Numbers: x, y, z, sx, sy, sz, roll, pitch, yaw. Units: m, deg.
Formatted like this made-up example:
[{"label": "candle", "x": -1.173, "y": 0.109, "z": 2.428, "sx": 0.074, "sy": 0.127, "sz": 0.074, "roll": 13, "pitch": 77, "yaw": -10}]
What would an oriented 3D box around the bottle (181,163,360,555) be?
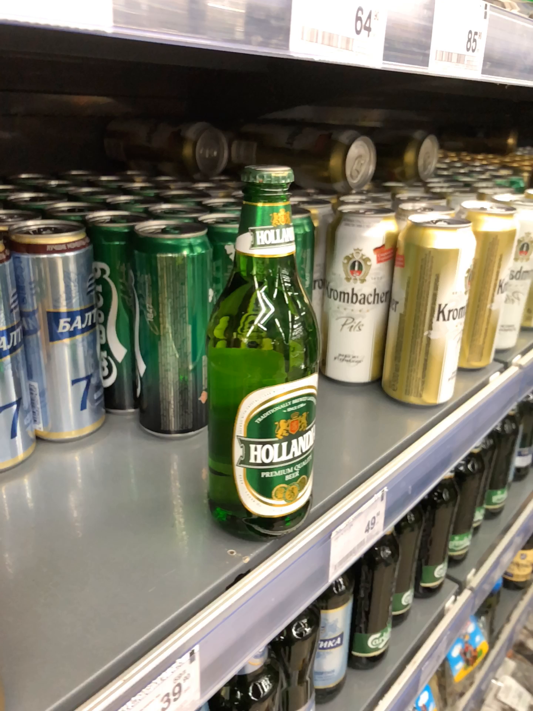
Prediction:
[{"label": "bottle", "x": -0.003, "y": 0.001, "z": 0.347, "sx": 0.070, "sy": 0.211, "sz": 0.063, "roll": -11, "pitch": 25, "yaw": -30}]
